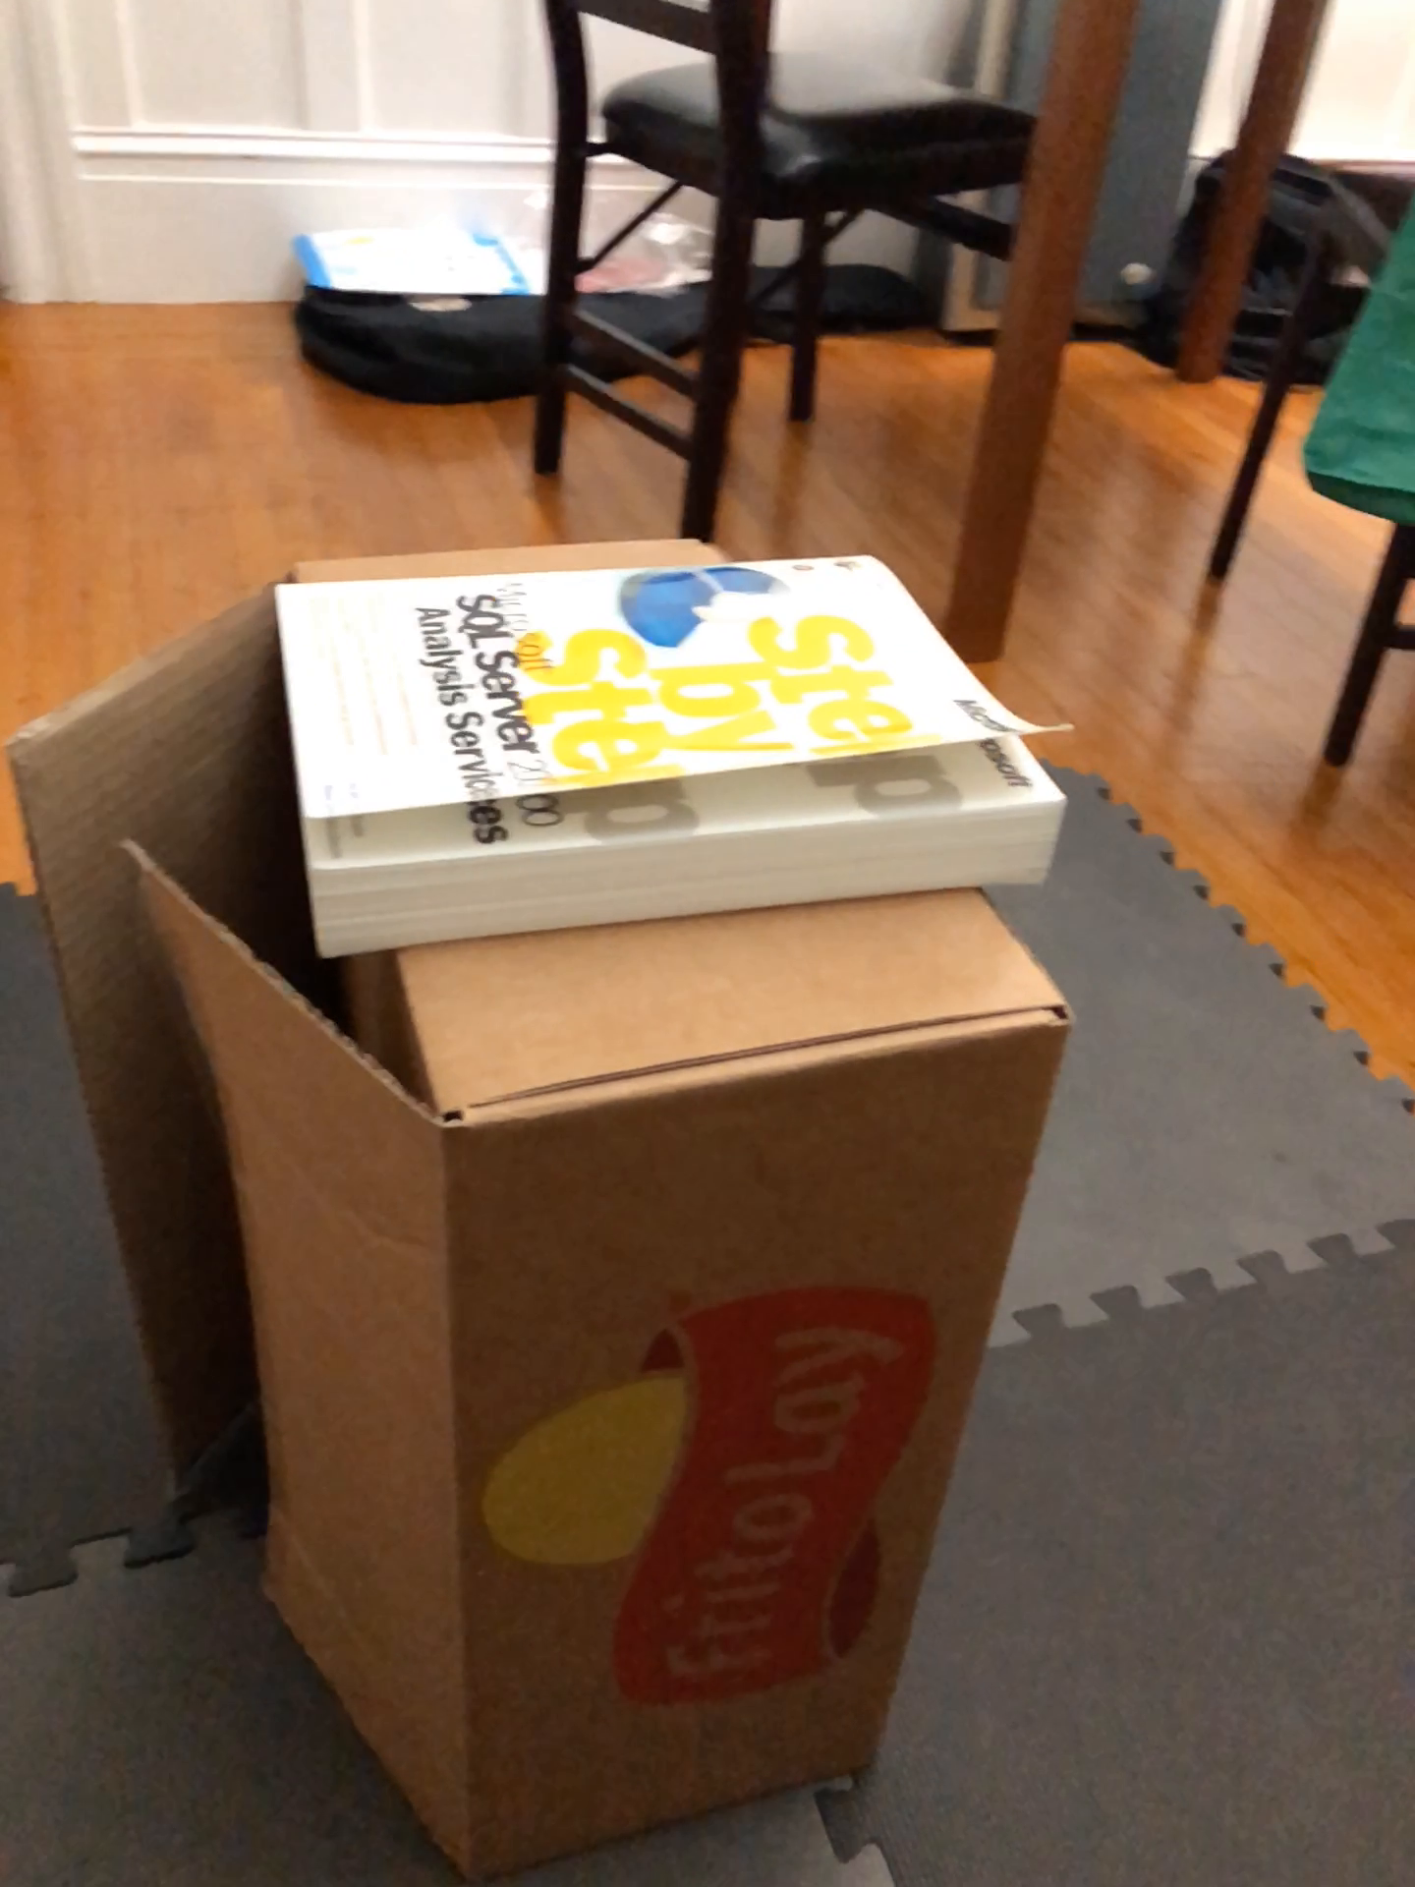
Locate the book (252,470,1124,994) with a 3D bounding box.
[{"bbox_3d":[-0.019,-0.086,0.525,0.240,0.050,0.201,-9,42,-15],"label":"book"}]
